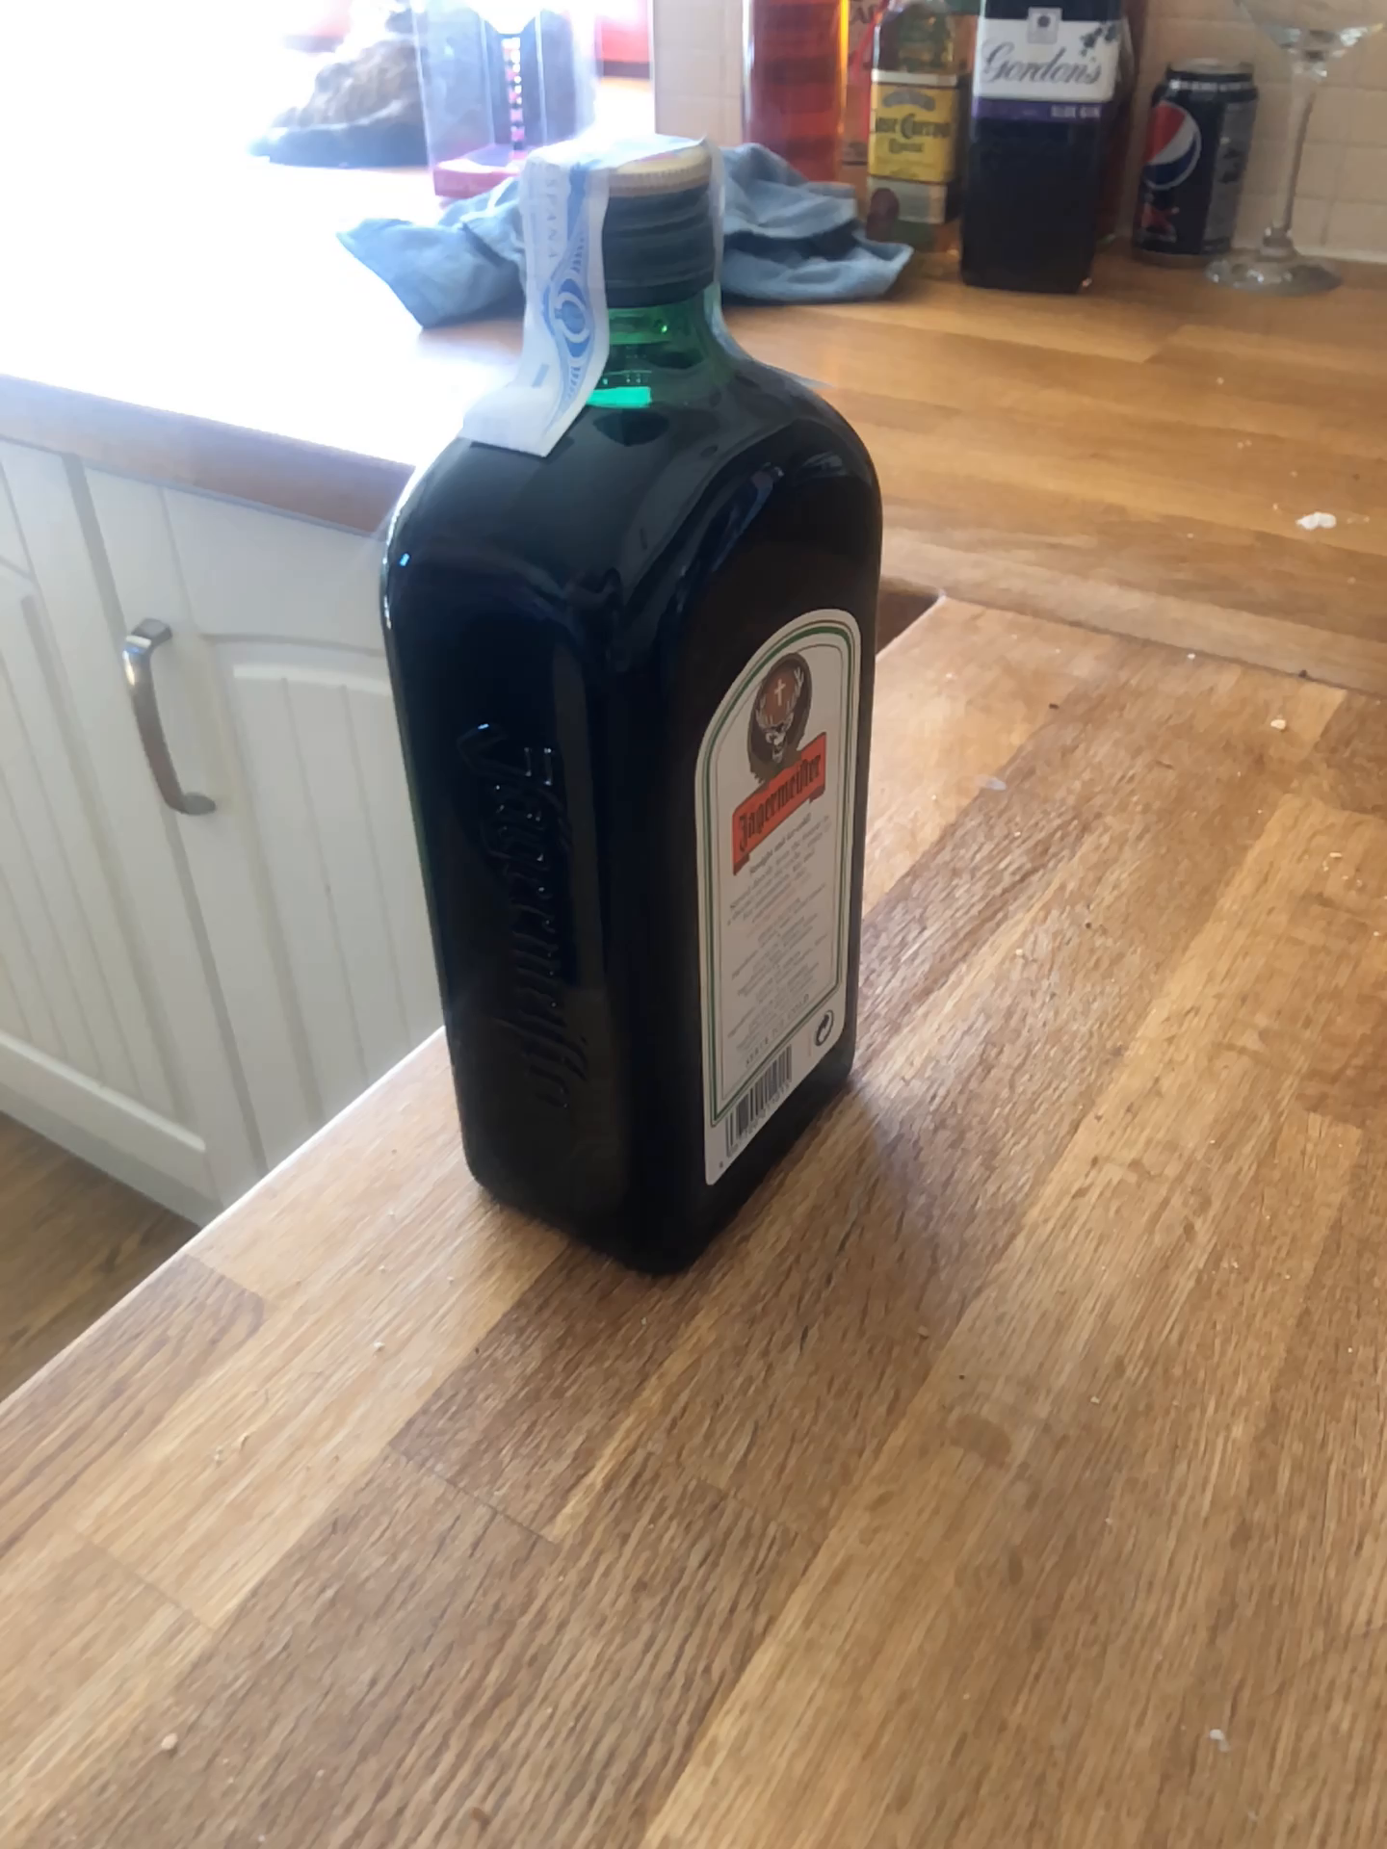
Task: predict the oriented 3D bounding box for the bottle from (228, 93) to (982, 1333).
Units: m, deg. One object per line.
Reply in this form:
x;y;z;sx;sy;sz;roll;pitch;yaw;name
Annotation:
-0.009;-0.039;0.316;0.080;0.218;0.101;21;41;28;bottle
